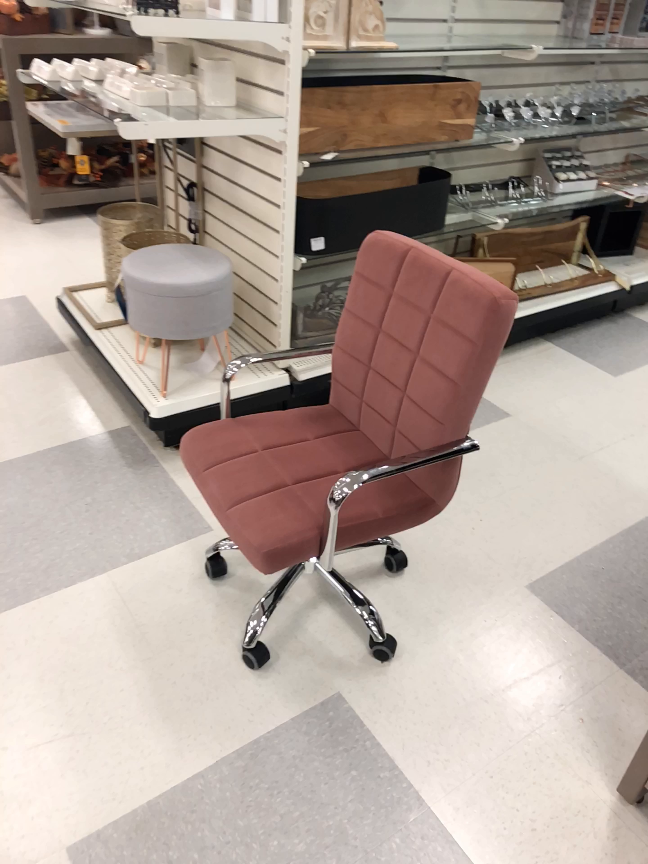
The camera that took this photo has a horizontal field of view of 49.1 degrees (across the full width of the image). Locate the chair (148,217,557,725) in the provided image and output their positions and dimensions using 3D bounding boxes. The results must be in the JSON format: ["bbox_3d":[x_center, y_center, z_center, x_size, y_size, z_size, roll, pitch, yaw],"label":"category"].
[{"bbox_3d":[0.008,0.054,1.587,0.570,0.842,0.567,-16,39,-28],"label":"chair"}]
